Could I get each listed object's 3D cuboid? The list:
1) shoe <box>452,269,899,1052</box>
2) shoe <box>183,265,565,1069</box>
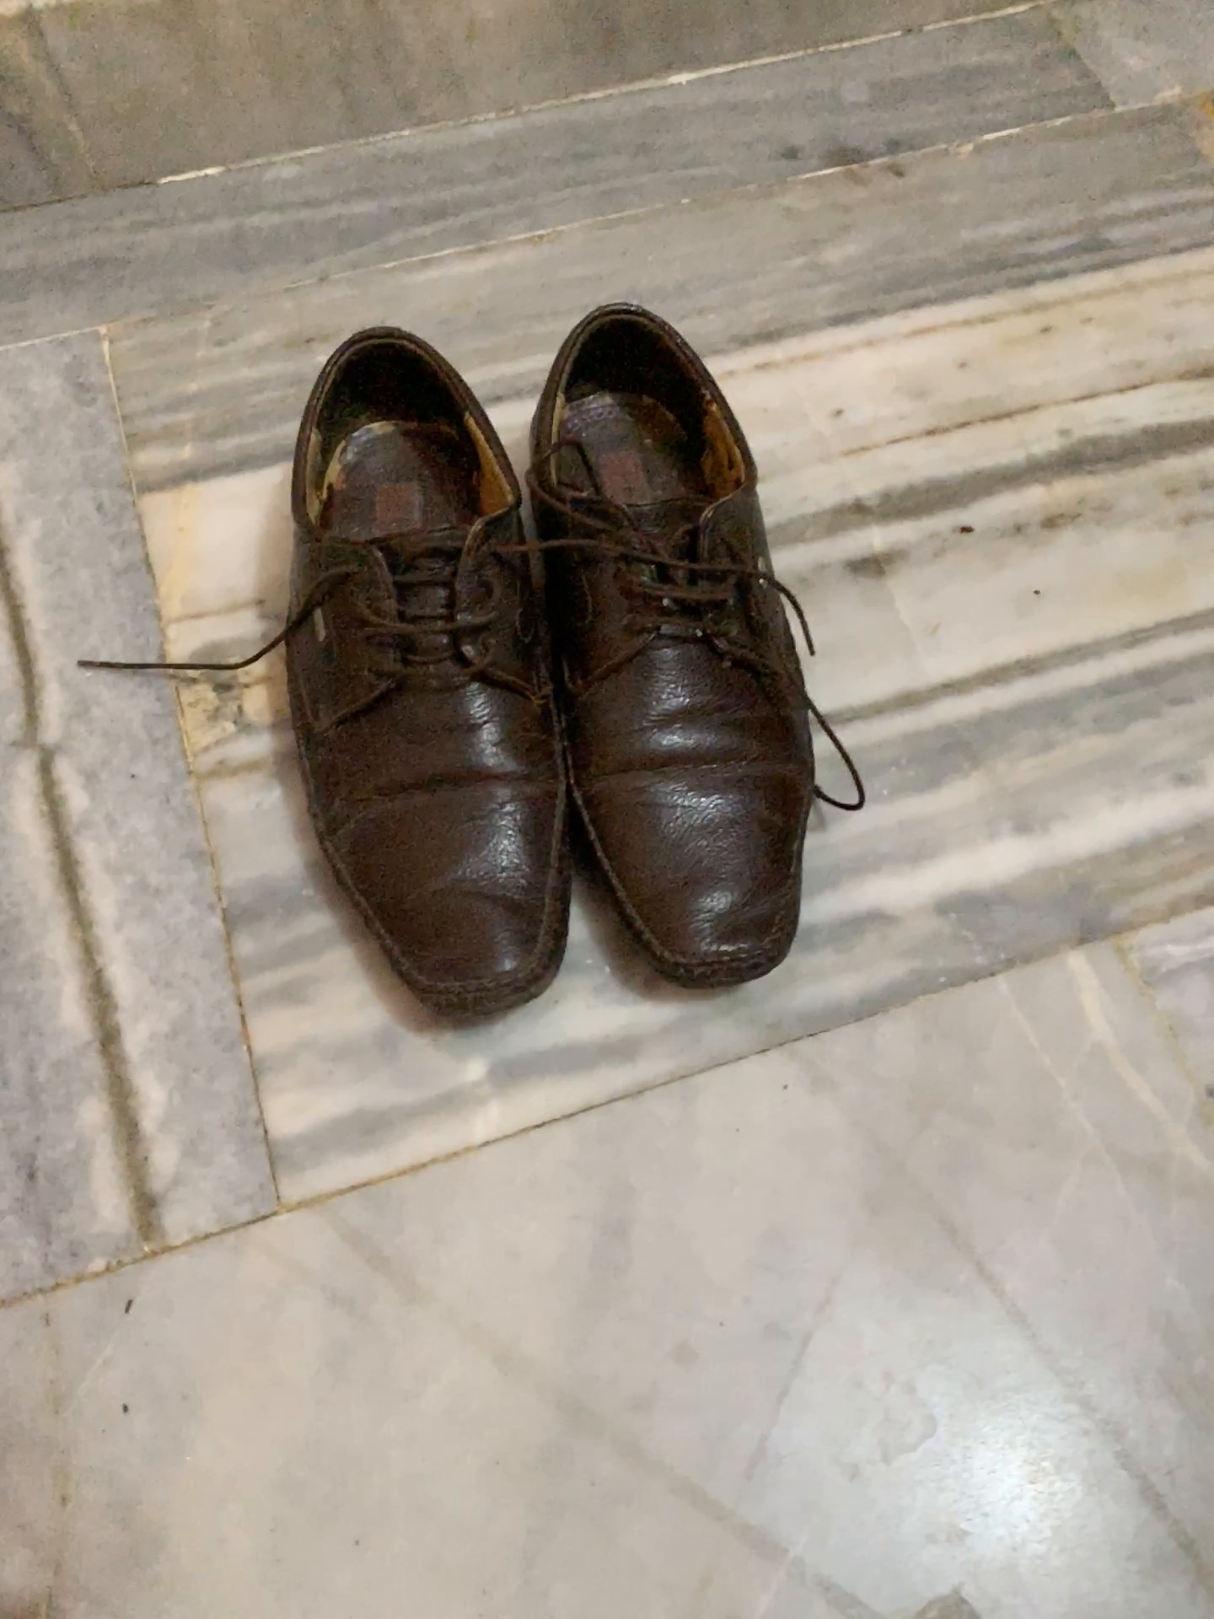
[{"bbox_3d":[0.013,-0.065,0.491,0.100,0.110,0.283,-9,64,-6],"label":"shoe"},{"bbox_3d":[-0.091,-0.061,0.479,0.100,0.110,0.283,-9,64,-6],"label":"shoe"}]
